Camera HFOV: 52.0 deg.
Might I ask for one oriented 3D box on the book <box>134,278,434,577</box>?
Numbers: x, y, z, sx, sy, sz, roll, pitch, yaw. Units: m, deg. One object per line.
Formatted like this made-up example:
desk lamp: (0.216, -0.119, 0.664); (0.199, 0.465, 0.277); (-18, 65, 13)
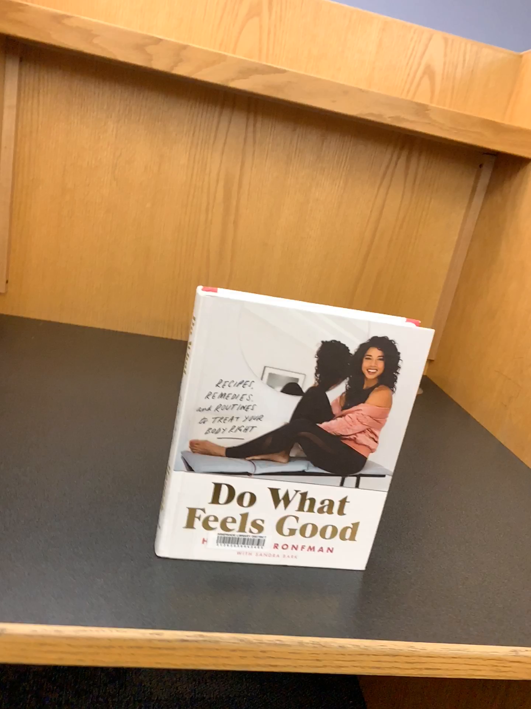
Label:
book: (0.010, 0.076, 0.472); (0.210, 0.249, 0.030); (8, 17, -13)
